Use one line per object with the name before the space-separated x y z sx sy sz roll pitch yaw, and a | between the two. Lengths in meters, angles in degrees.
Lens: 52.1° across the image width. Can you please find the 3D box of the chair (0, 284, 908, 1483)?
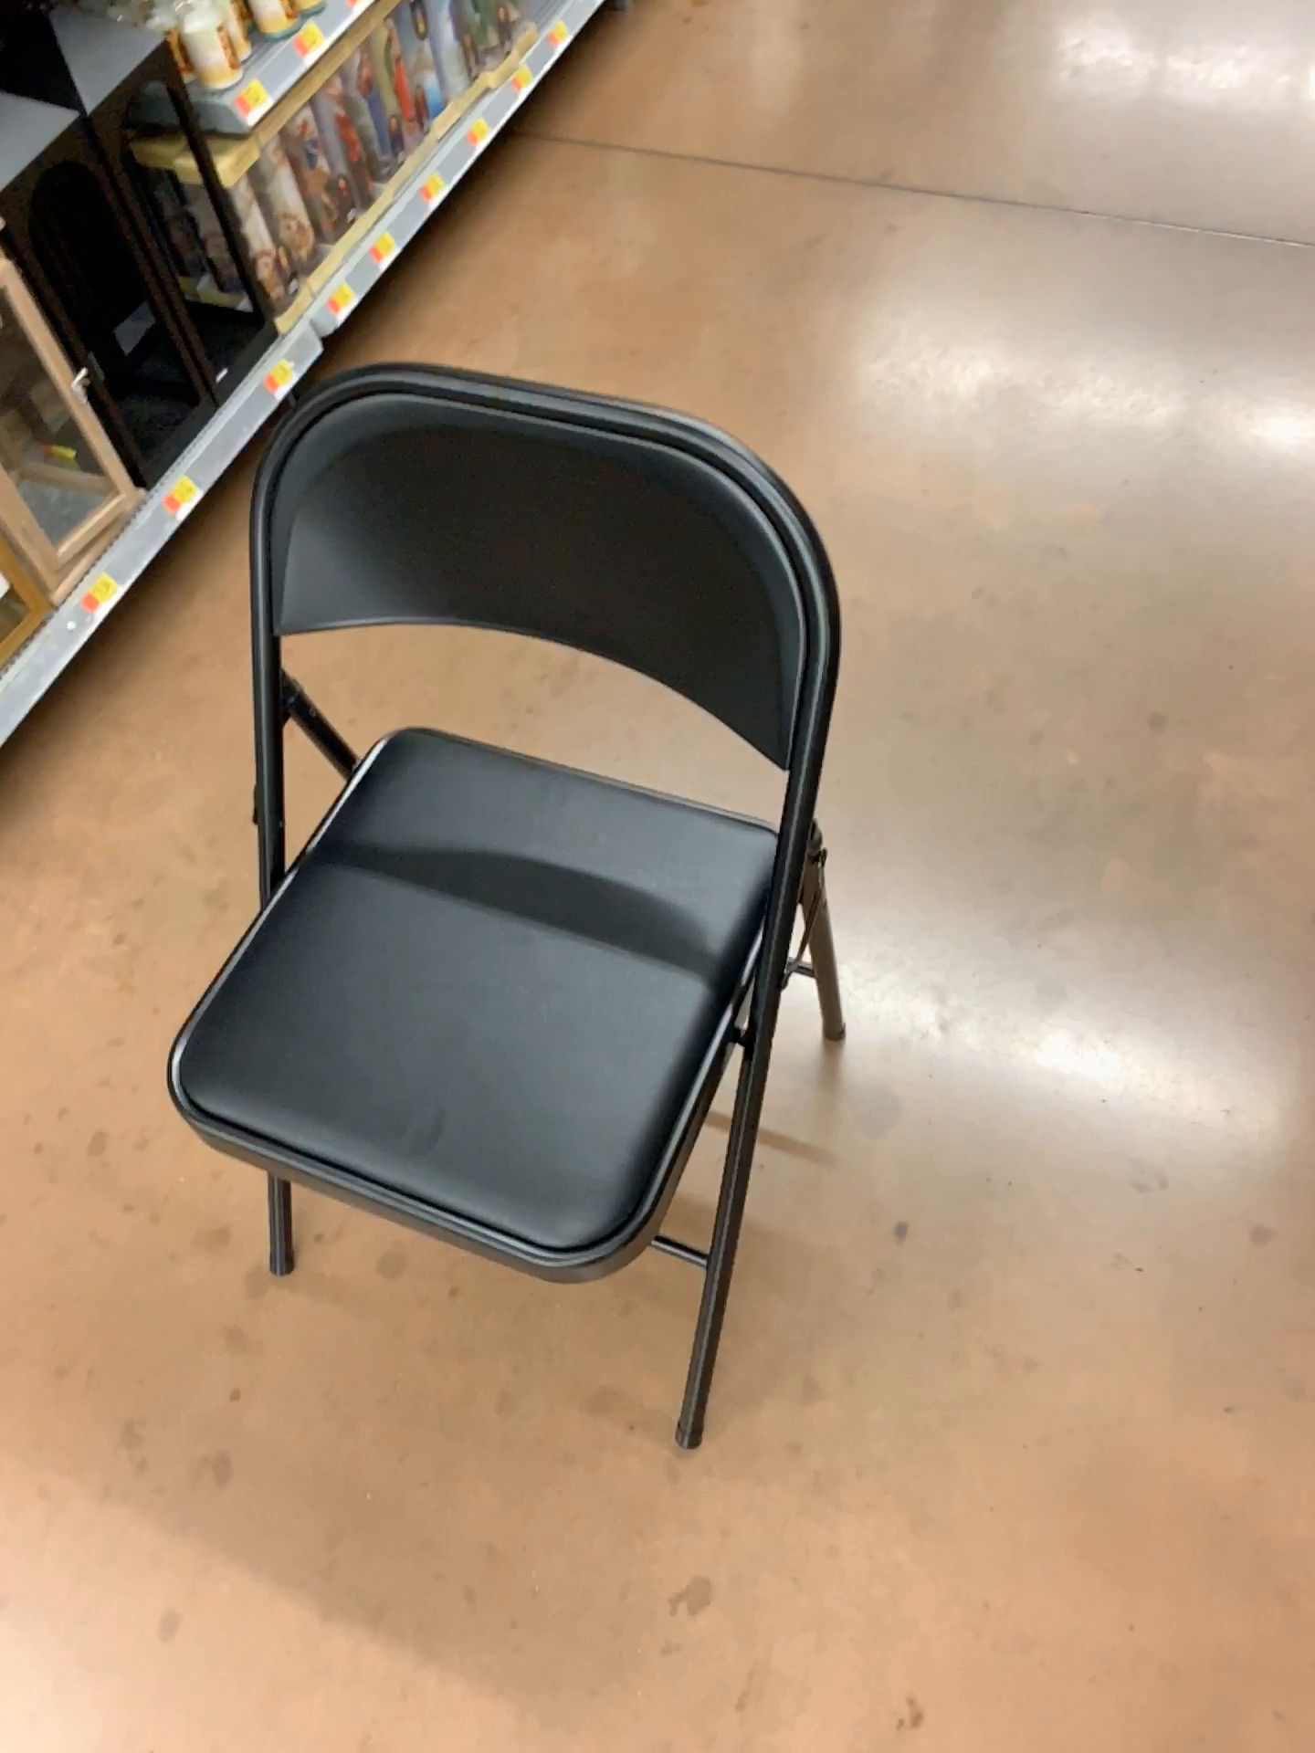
chair | -0.134 0.057 0.982 0.471 0.698 0.471 16 61 16
